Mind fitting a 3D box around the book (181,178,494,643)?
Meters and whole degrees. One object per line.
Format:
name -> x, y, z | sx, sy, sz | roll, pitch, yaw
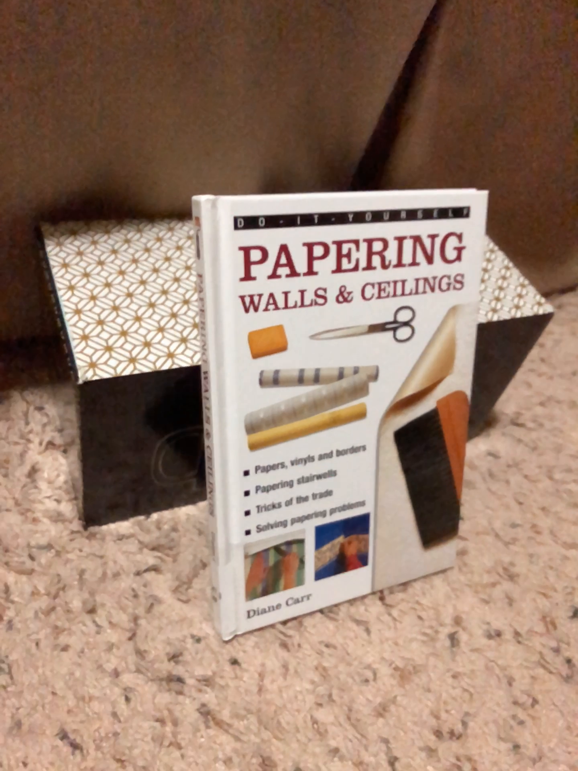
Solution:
book -> 0.026, 0.012, 0.308 | 0.143, 0.207, 0.015 | -9, 21, -24
